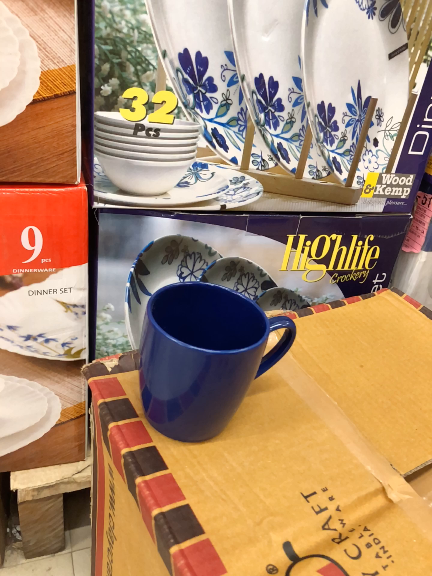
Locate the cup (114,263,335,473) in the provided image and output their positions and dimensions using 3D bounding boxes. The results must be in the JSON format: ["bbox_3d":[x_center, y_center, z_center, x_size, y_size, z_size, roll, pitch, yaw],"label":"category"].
[{"bbox_3d":[0.000,0.041,0.284,0.100,0.079,0.070,-7,33,-27],"label":"cup"}]
